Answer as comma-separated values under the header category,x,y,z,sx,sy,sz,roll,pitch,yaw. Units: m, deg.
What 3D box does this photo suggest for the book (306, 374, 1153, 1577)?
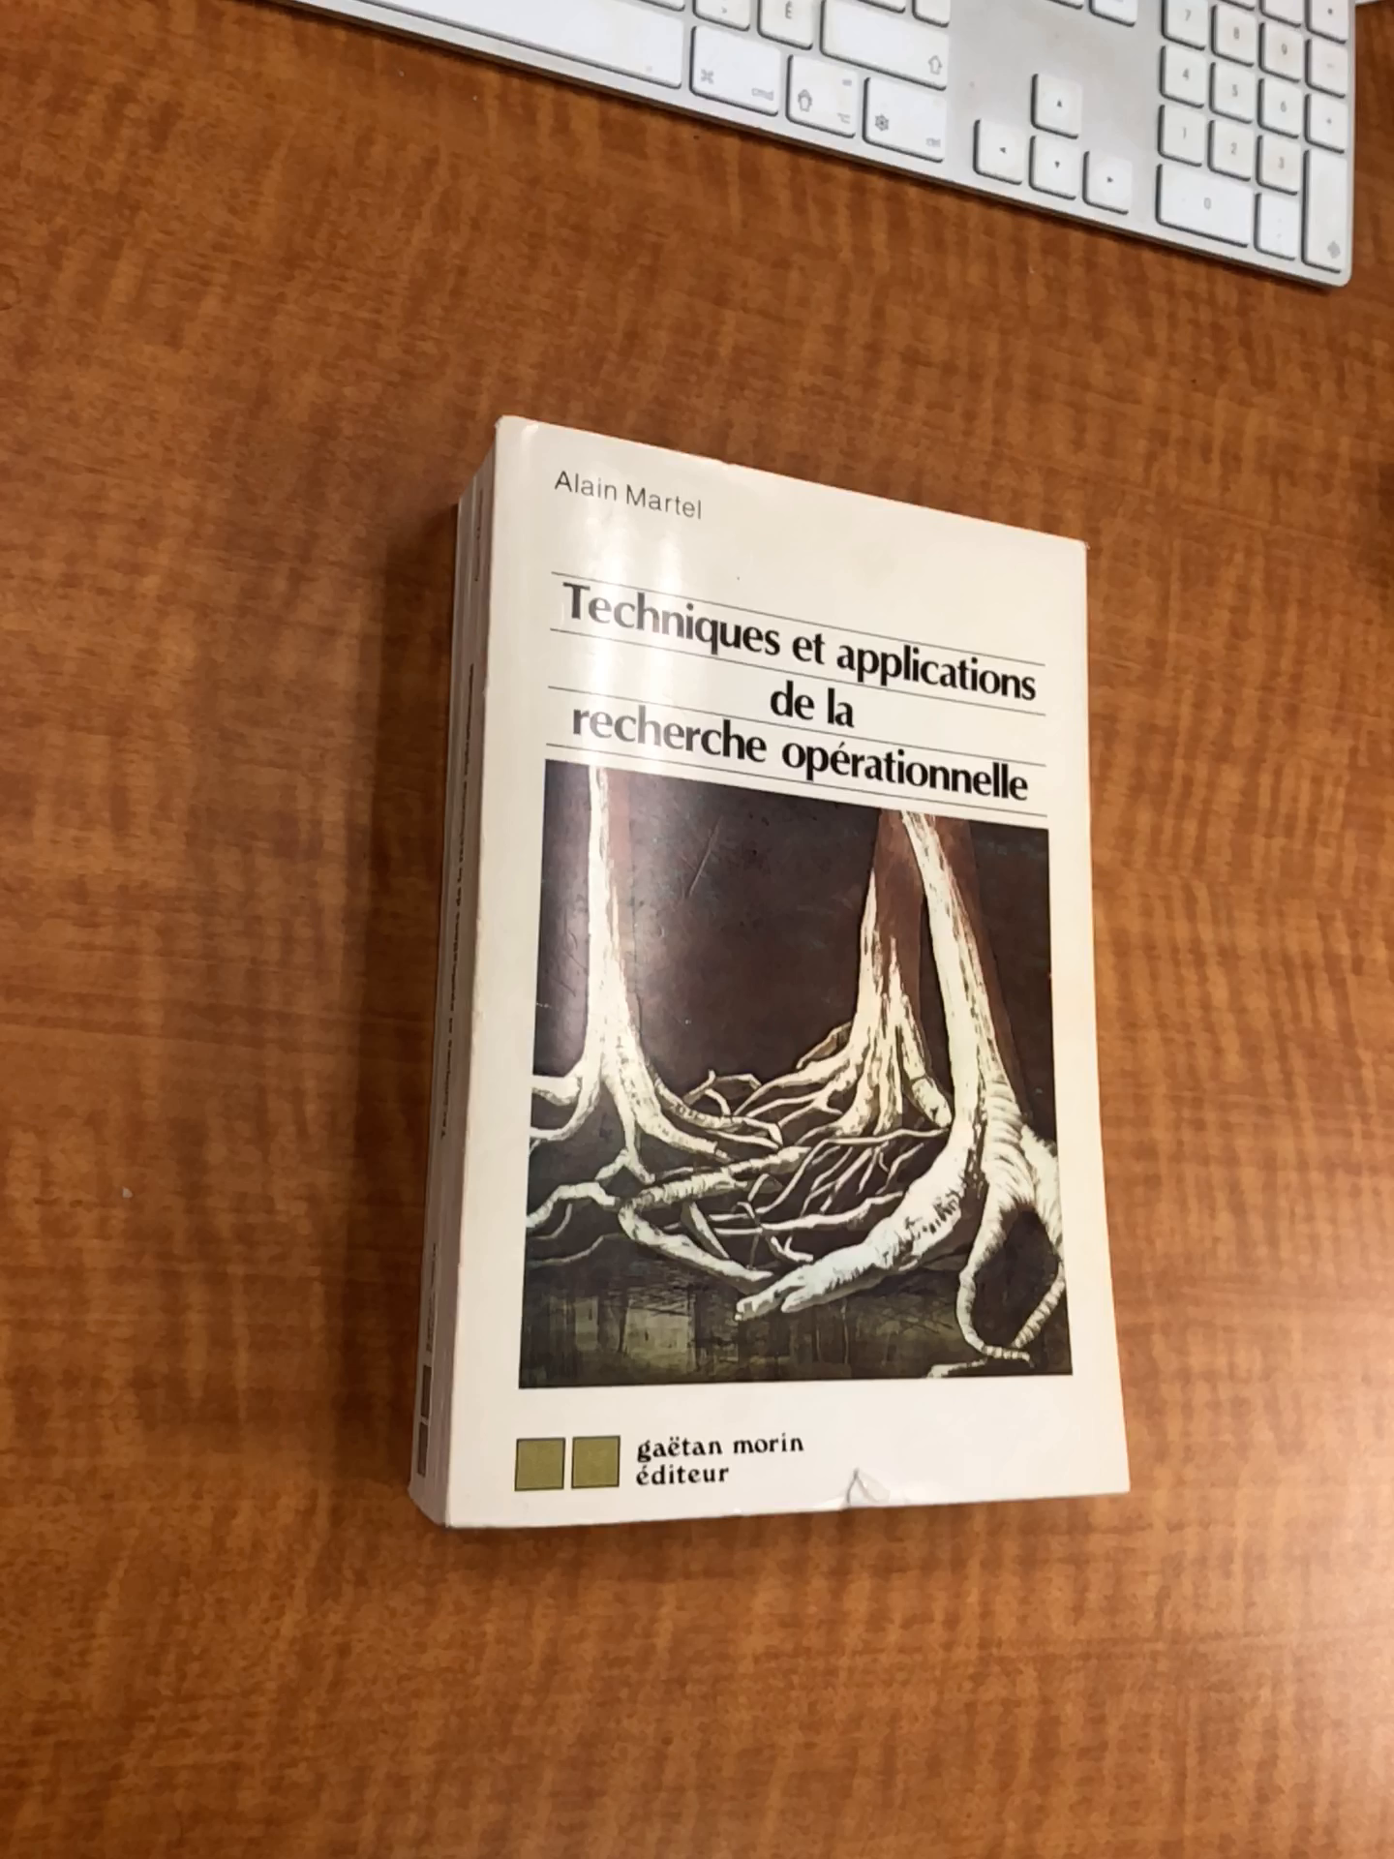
category,x,y,z,sx,sy,sz,roll,pitch,yaw
book,0.009,0.013,0.356,0.170,0.070,0.230,5,79,-22
